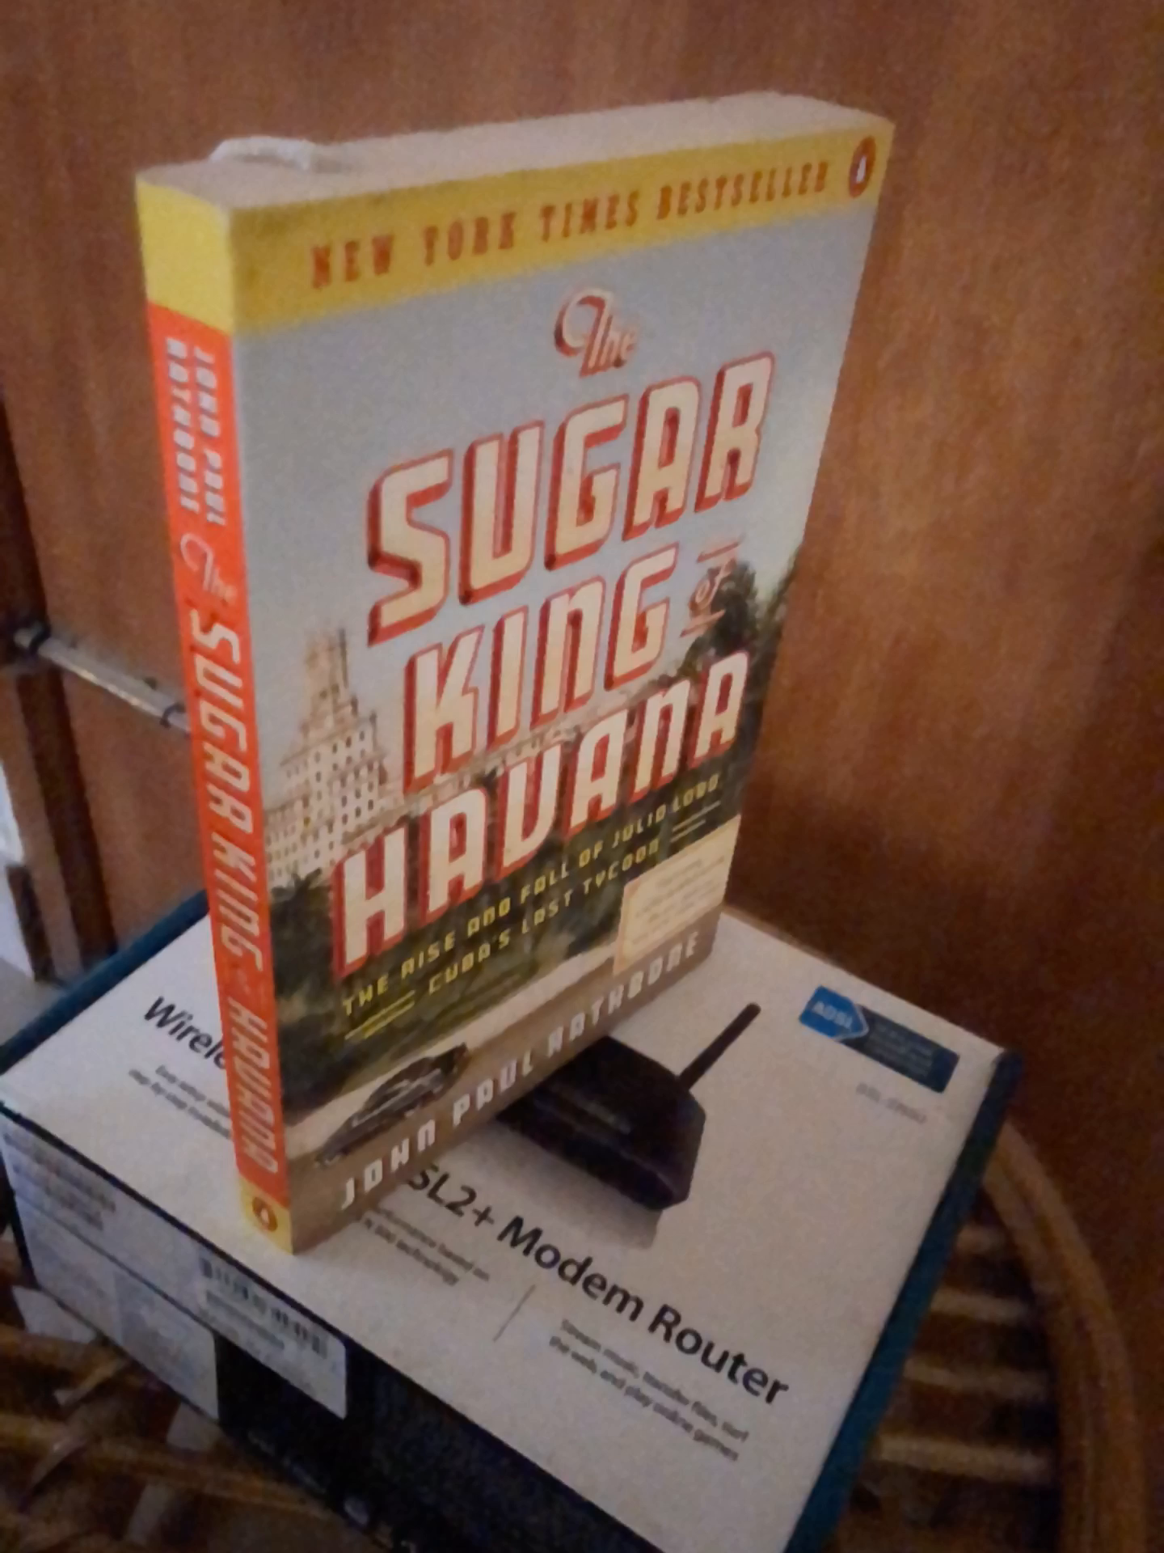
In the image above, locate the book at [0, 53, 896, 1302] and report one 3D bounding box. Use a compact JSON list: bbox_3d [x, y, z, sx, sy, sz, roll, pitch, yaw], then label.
[{"bbox_3d":[-0.015,-0.014,0.252,0.150,0.209,0.030,-29,48,-35],"label":"book"}]
